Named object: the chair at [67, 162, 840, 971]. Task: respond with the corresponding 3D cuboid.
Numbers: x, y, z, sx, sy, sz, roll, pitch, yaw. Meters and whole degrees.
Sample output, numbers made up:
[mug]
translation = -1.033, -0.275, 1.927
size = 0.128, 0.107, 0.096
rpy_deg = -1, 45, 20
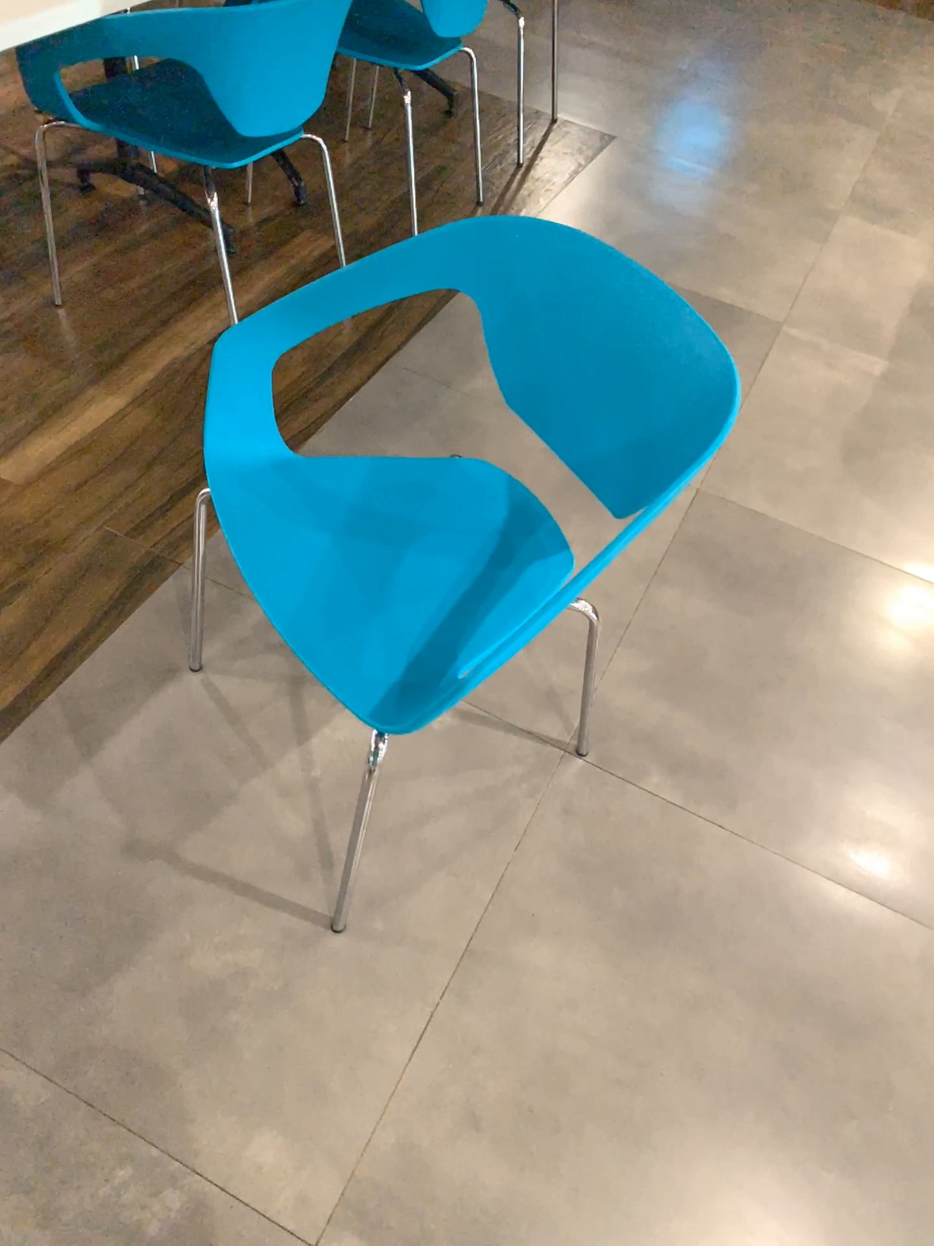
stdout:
[chair]
translation = -0.071, -0.078, 1.275
size = 0.592, 0.724, 0.613
rpy_deg = -21, 56, -25
